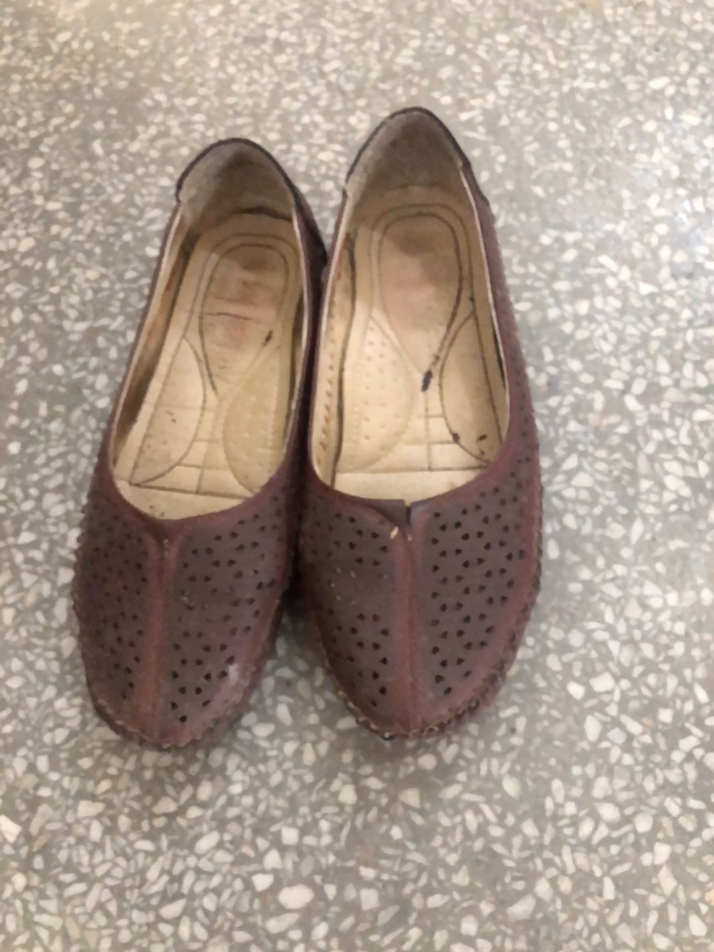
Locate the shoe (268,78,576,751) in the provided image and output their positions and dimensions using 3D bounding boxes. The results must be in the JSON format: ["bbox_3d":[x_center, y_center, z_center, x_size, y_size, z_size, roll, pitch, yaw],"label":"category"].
[{"bbox_3d":[0.023,-0.028,0.307,0.090,0.060,0.250,-1,70,6],"label":"shoe"}]

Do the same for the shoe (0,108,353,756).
[{"bbox_3d":[-0.058,-0.025,0.320,0.090,0.060,0.250,2,70,7],"label":"shoe"}]
